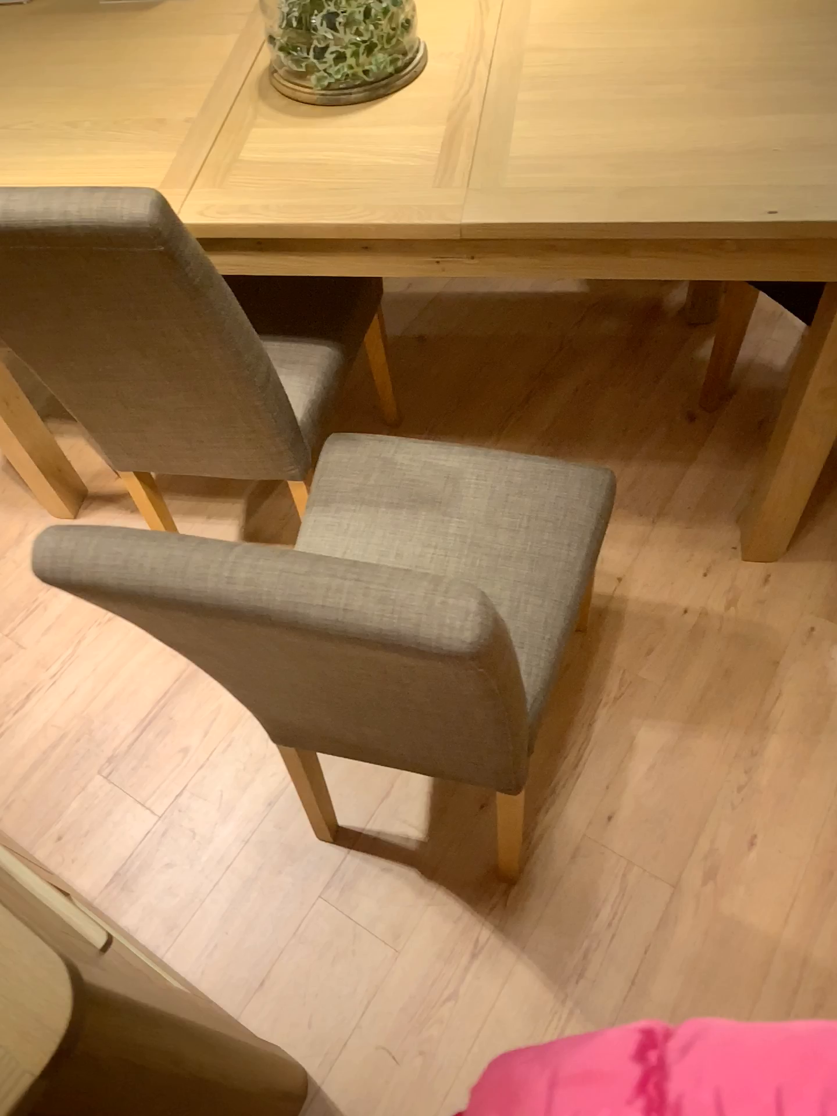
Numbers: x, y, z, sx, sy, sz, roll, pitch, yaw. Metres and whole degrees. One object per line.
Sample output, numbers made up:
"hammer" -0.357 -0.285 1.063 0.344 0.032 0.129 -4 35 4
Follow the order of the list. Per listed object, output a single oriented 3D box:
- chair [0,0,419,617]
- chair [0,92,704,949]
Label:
"chair" -0.323 -0.344 1.333 0.497 0.766 0.507 4 56 10
"chair" 0.004 0.022 1.069 0.507 0.885 0.608 8 56 13
